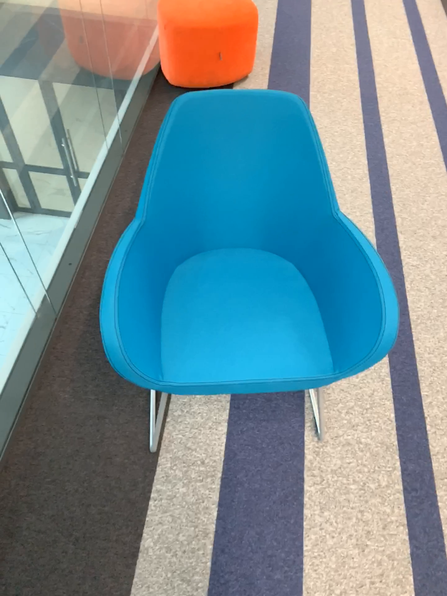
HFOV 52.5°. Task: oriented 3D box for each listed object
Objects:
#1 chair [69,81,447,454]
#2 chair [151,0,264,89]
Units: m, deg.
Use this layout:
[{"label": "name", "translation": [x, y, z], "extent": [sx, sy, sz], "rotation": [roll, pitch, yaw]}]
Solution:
[{"label": "chair", "translation": [0.042, -0.033, 1.291], "extent": [0.671, 0.837, 0.652], "rotation": [-1, 54, -4]}, {"label": "chair", "translation": [-0.118, -1.705, 2.902], "extent": [0.639, 0.397, 0.652], "rotation": [-1, 54, -4]}]
